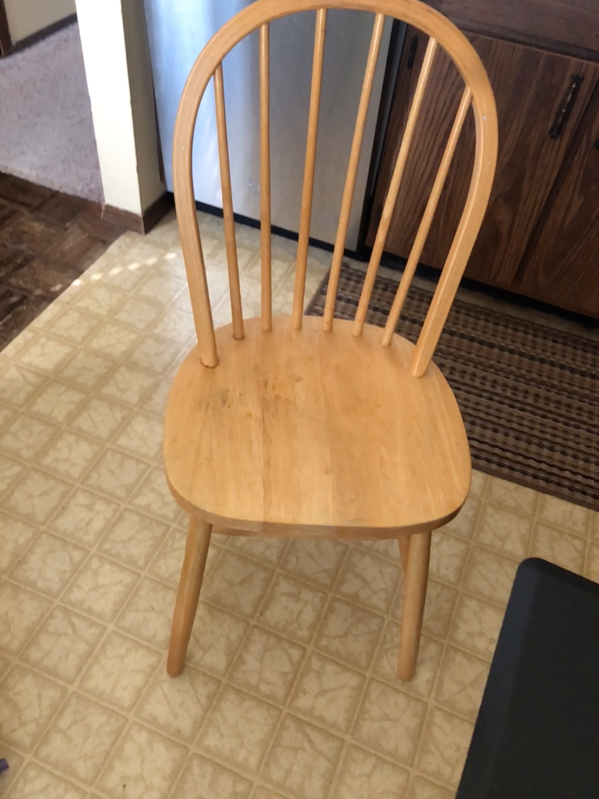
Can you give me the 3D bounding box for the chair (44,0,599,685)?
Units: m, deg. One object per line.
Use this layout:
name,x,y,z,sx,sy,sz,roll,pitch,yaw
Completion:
chair,0.025,-0.038,0.944,0.460,0.898,0.561,2,48,-5
